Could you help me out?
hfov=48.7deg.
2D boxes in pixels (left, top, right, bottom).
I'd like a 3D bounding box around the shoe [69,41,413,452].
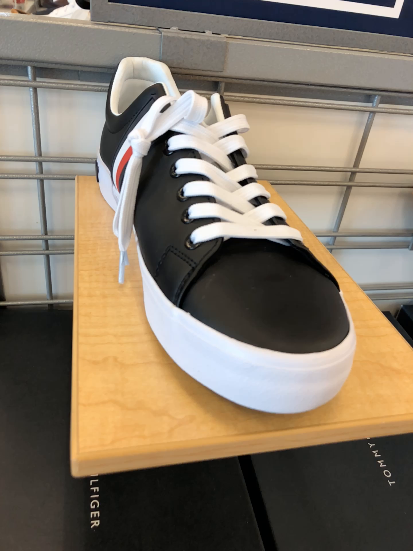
[{"bbox_3d":[-0.007,-0.059,0.269,0.100,0.089,0.292,-6,36,-23],"label":"shoe"}]
